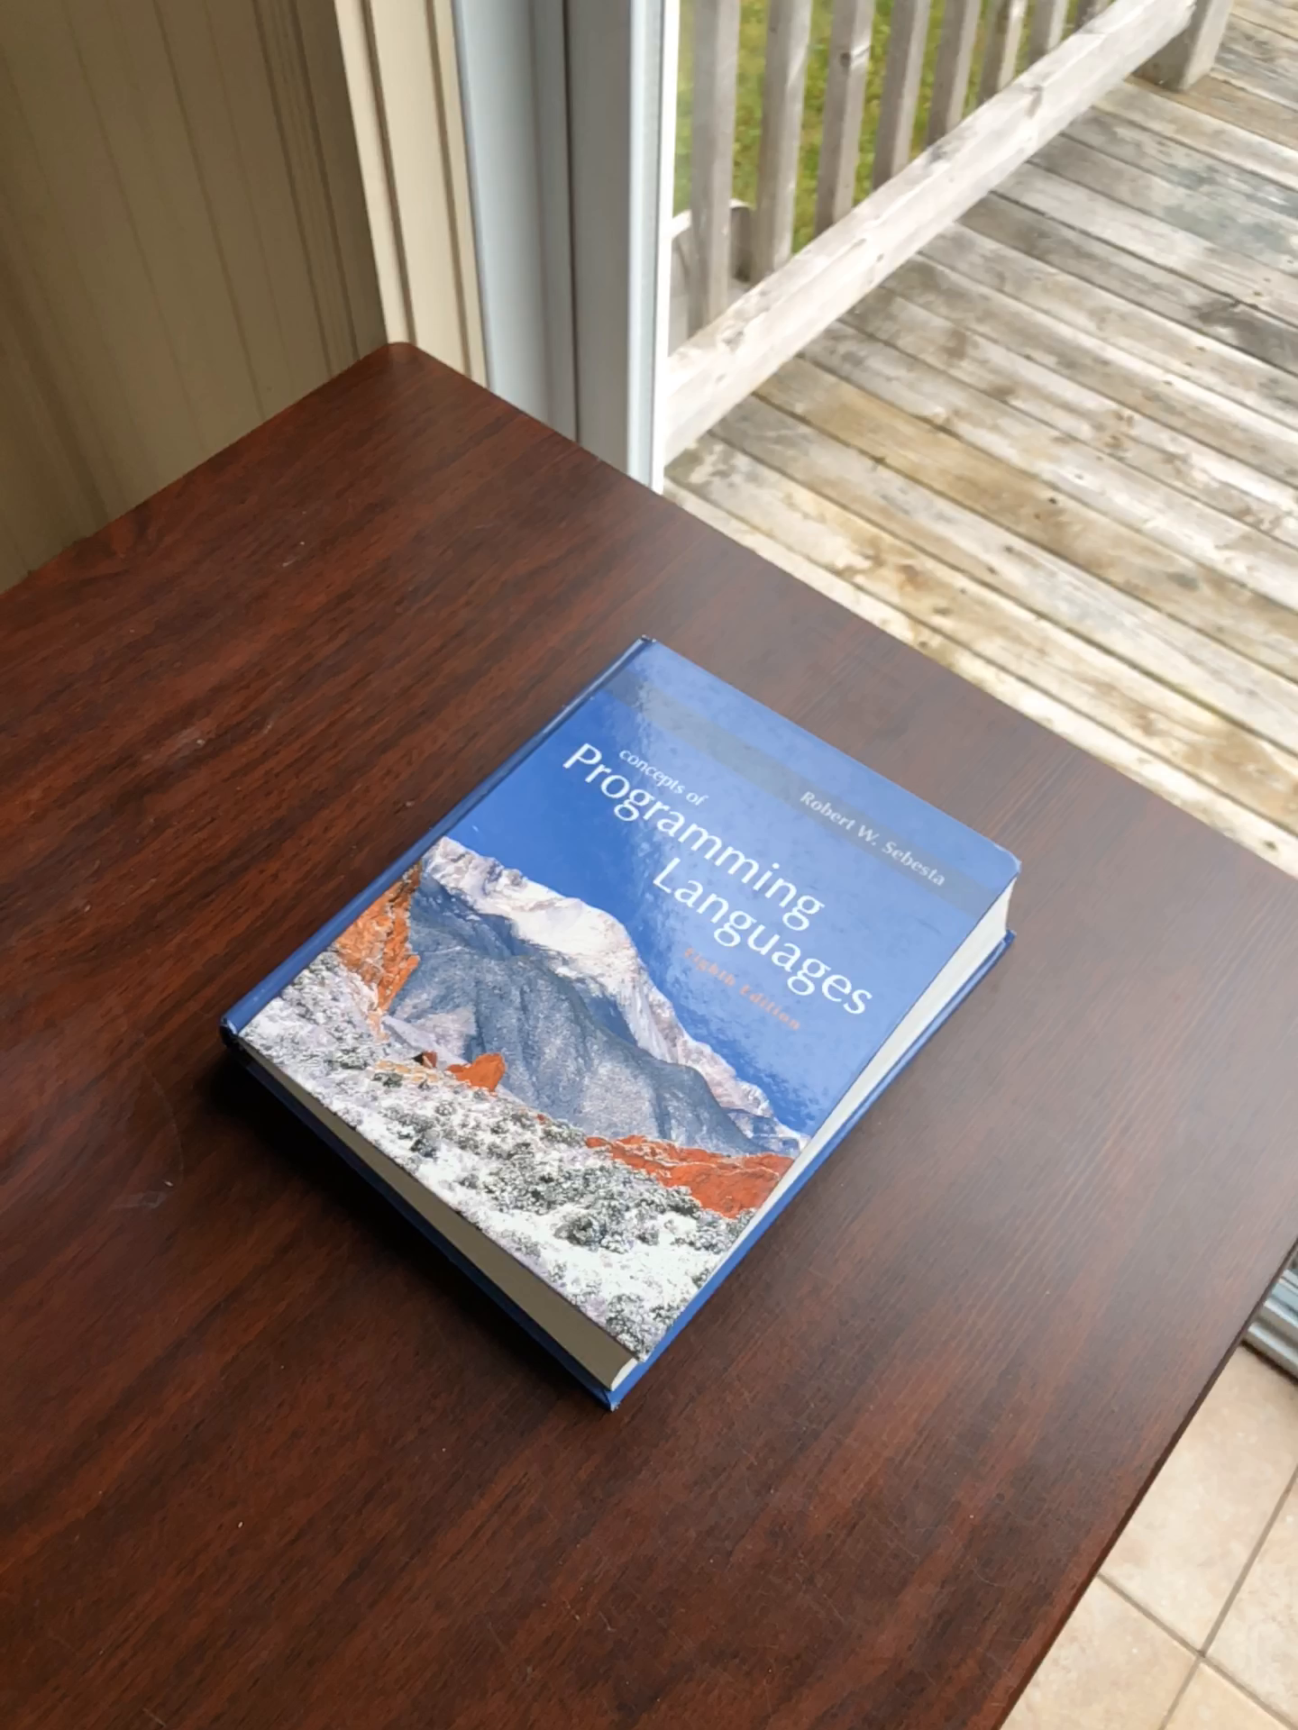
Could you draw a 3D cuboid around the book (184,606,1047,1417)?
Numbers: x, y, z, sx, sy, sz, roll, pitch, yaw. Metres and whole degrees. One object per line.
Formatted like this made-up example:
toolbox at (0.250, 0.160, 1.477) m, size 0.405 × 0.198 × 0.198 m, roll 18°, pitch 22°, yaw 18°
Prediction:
book at (-0.007, 0.035, 0.523) m, size 0.195 × 0.048 × 0.236 m, roll 36°, pitch 63°, yaw 21°
